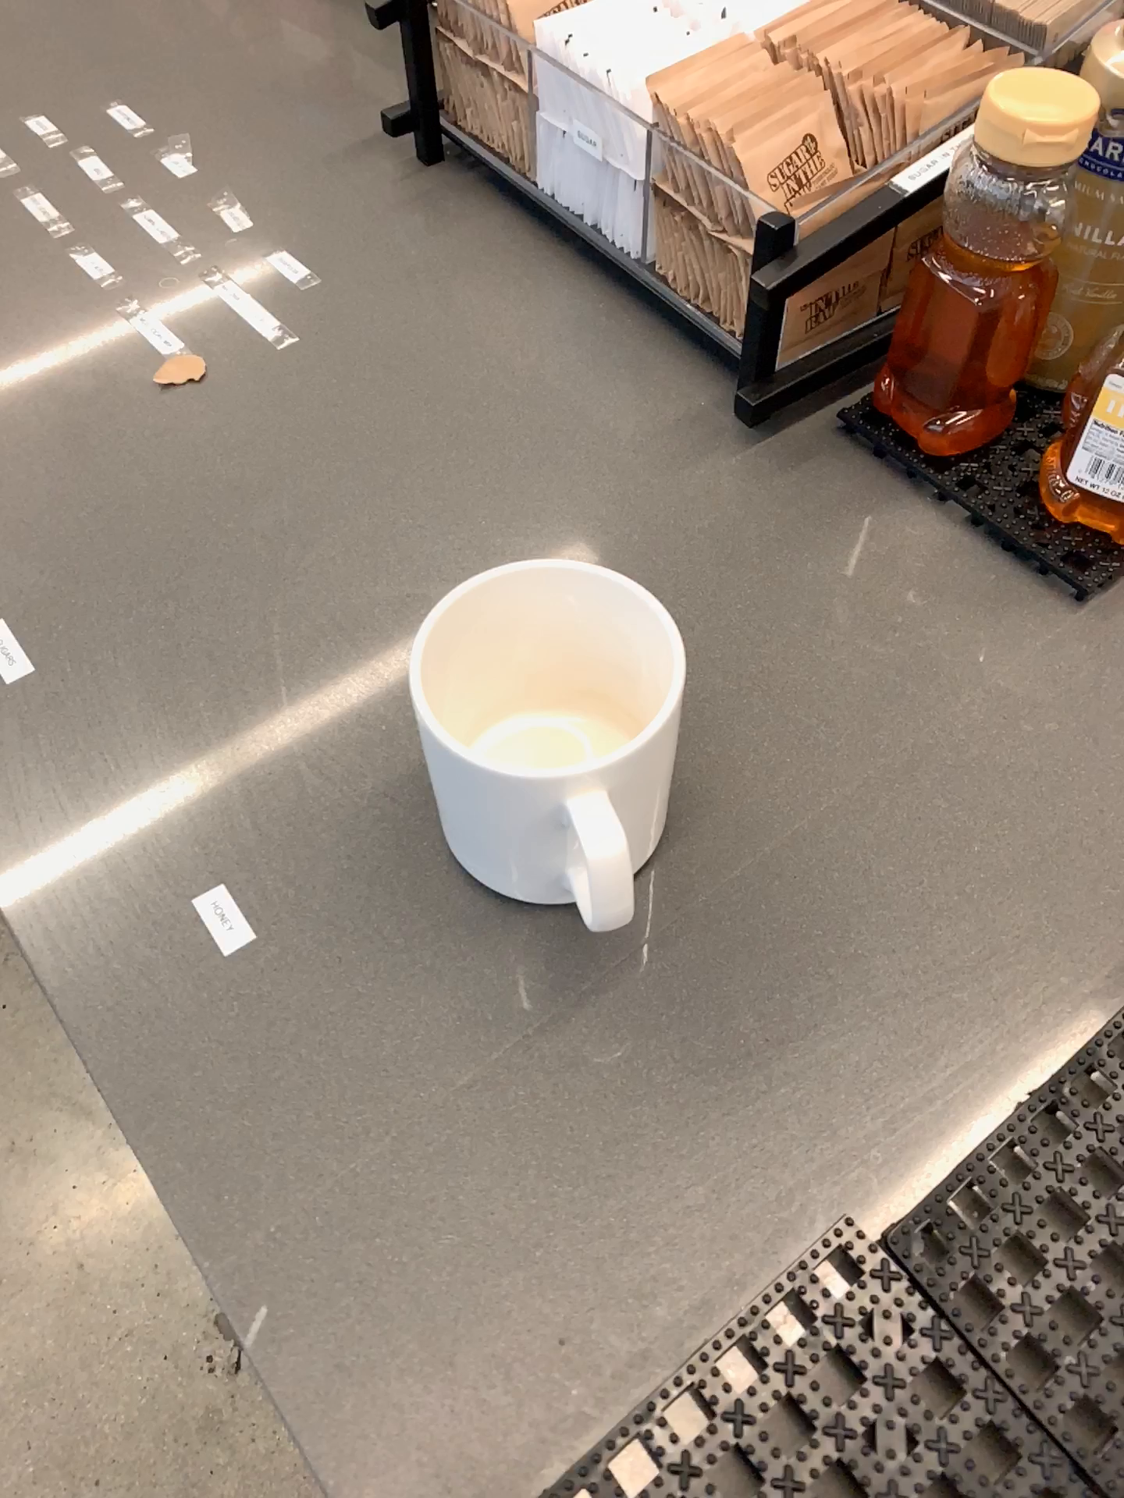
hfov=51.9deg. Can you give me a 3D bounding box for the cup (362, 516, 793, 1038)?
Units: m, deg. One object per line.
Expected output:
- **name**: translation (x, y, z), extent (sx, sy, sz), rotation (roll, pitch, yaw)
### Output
- **cup**: translation (0.001, 0.008, 0.376), extent (0.090, 0.090, 0.120), rotation (-17, 57, -11)
